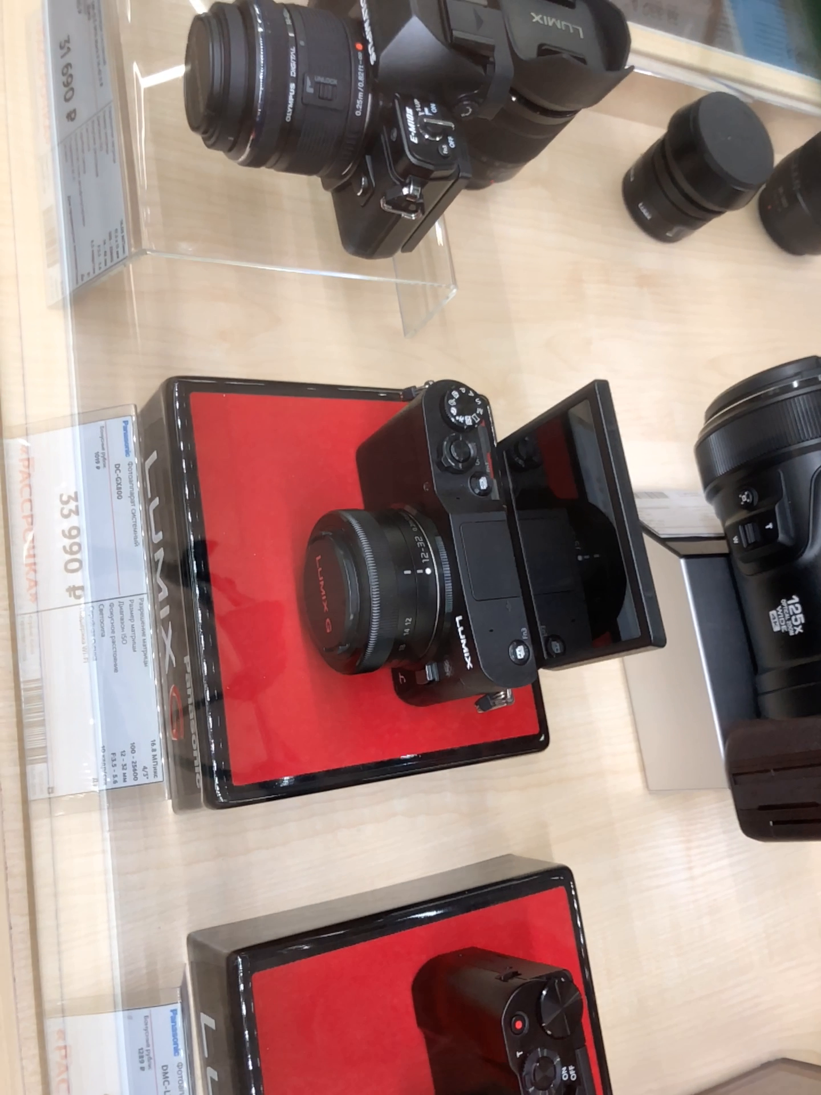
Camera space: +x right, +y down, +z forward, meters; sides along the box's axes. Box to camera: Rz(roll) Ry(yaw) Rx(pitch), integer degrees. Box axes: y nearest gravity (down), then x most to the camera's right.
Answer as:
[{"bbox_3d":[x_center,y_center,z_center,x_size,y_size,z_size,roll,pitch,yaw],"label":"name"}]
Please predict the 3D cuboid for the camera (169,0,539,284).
[{"bbox_3d":[-0.026,-0.174,0.344,0.103,0.080,0.108,-2,76,-29],"label":"camera"}]

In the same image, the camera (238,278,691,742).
[{"bbox_3d":[0.006,-0.004,0.287,0.070,0.120,0.108,-6,78,-30],"label":"camera"}]
